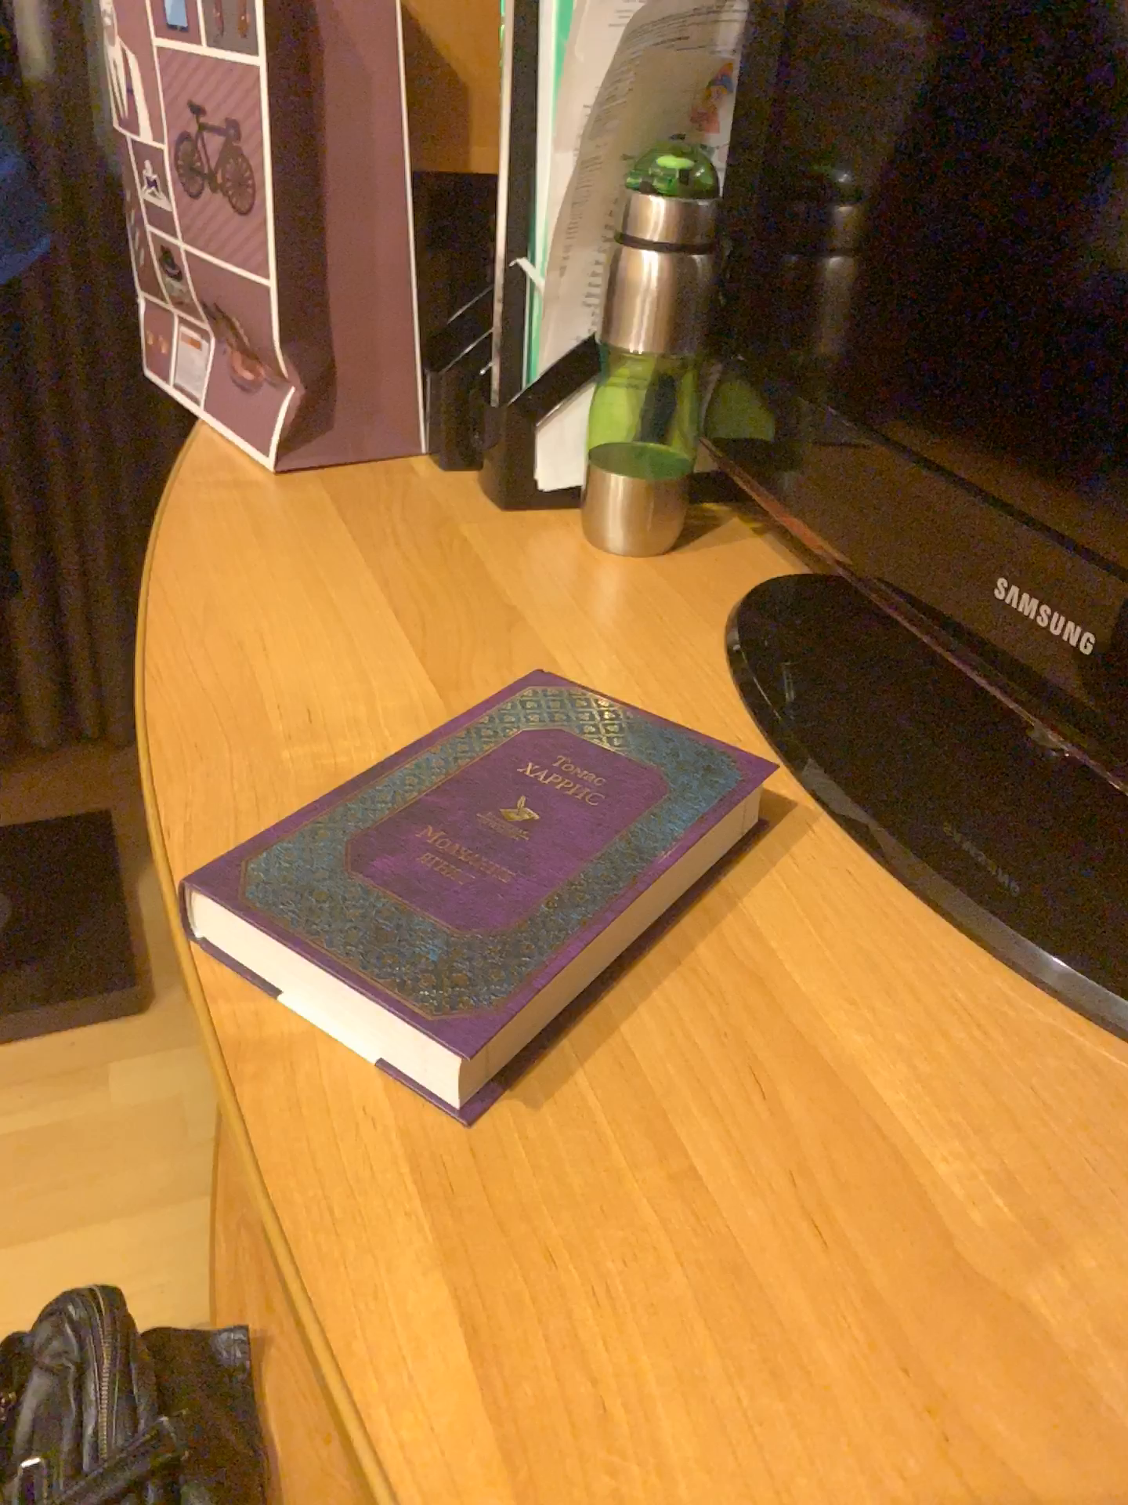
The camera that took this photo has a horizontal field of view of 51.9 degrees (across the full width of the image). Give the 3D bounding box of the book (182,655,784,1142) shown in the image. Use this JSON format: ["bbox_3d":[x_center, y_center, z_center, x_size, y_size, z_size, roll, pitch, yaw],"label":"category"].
[{"bbox_3d":[-0.021,0.038,0.448,0.130,0.040,0.201,24,38,27],"label":"book"}]
